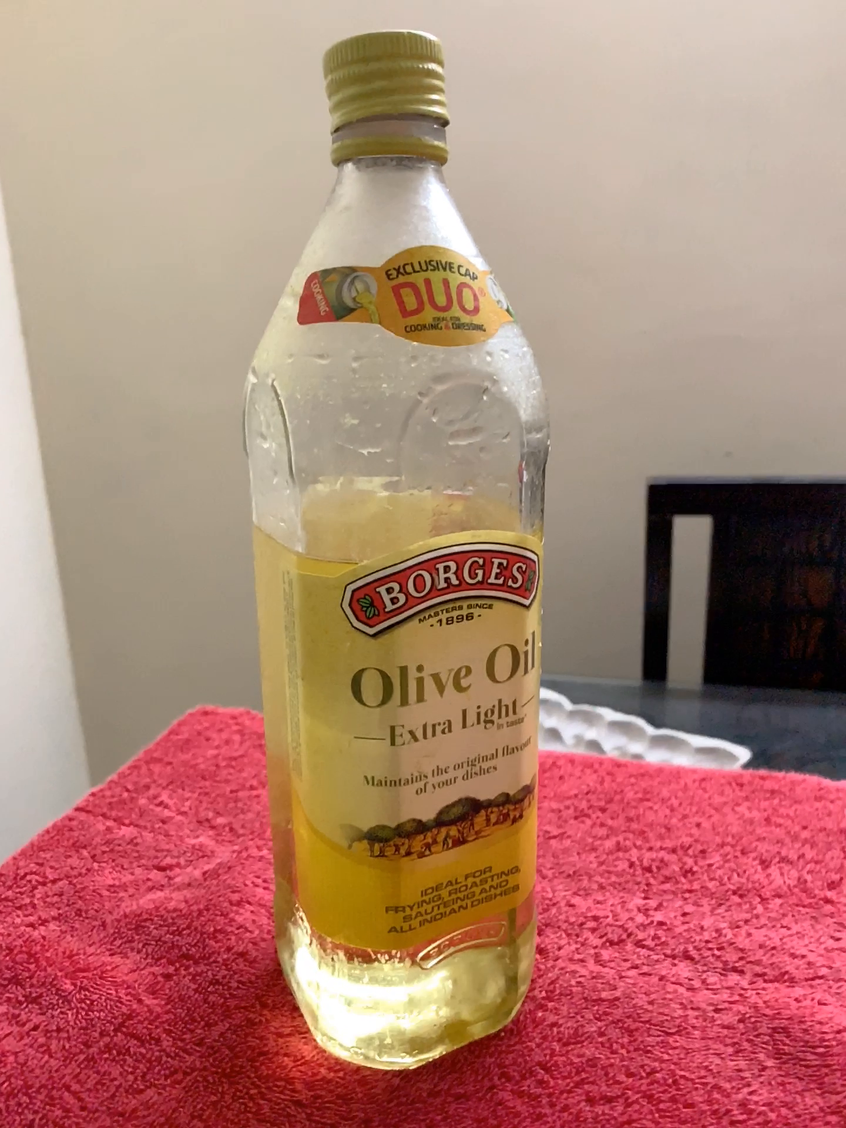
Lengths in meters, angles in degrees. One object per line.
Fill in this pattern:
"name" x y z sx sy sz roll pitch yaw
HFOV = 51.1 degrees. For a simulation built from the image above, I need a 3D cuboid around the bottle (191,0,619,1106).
"bottle" -0.004 0.001 0.246 0.080 0.269 0.070 -9 17 -24
